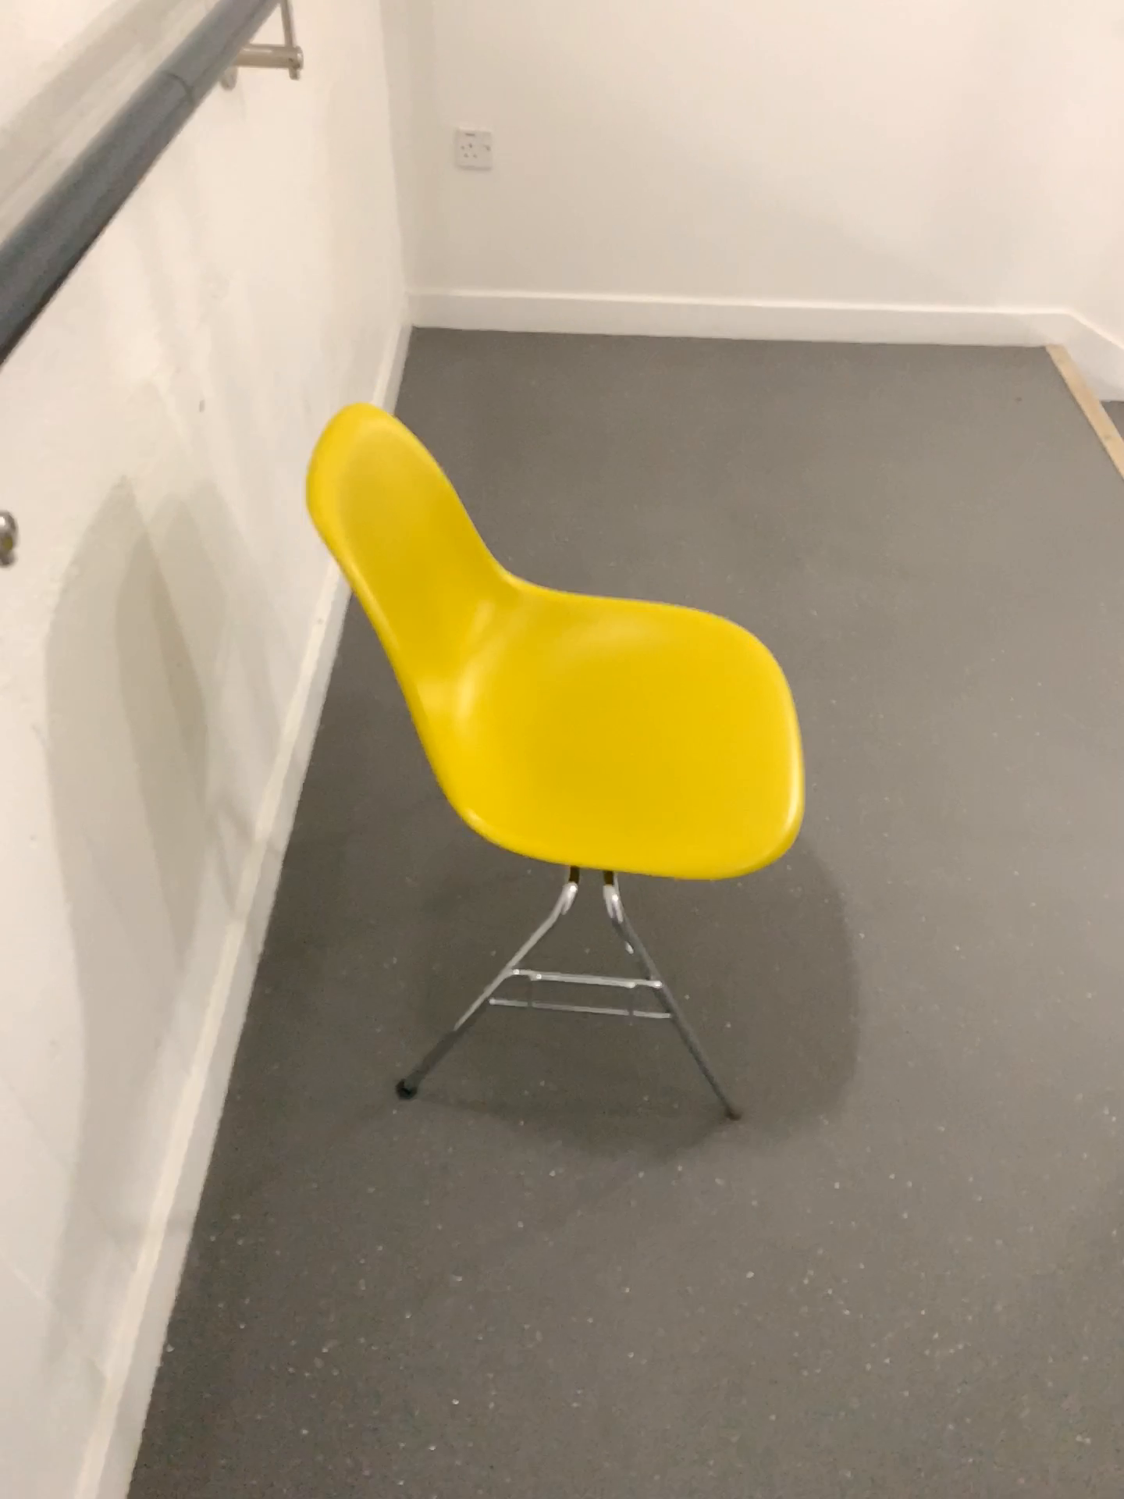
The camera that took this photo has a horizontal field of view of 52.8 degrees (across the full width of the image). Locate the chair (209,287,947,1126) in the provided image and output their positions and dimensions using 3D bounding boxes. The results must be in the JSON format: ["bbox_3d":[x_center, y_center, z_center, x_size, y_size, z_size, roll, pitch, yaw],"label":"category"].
[{"bbox_3d":[0.021,-0.038,1.337,0.560,0.733,0.626,3,46,2],"label":"chair"}]
